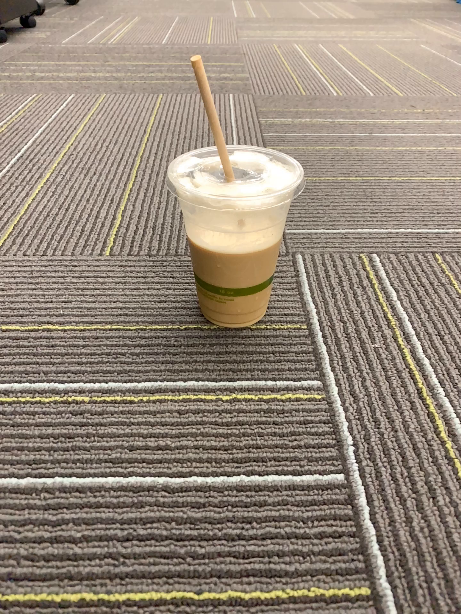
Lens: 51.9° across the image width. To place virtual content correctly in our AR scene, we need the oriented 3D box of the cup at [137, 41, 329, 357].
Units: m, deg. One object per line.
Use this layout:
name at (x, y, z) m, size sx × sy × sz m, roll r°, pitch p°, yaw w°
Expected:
cup at (0.006, -0.073, 0.337) m, size 0.090 × 0.189 × 0.090 m, roll 0°, pitch 37°, yaw 0°
